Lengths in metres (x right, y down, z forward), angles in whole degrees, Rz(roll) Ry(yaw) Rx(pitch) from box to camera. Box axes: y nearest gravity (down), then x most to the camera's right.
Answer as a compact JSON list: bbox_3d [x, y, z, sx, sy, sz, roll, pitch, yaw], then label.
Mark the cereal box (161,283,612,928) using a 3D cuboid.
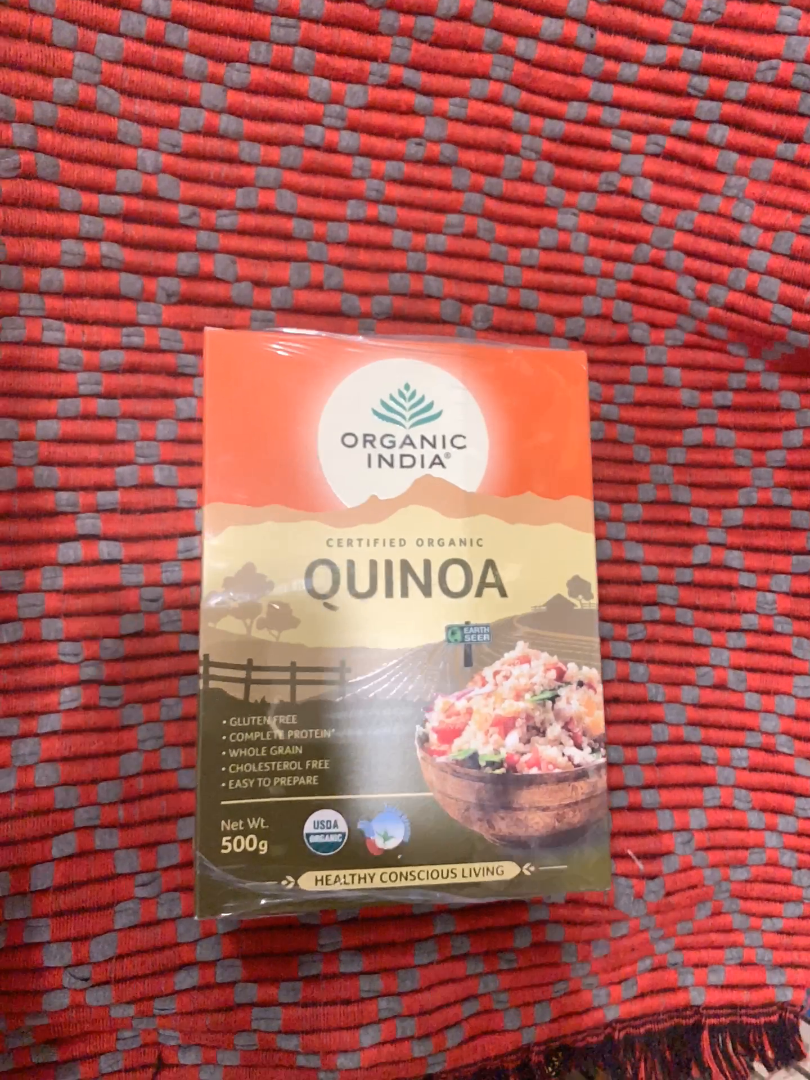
[{"bbox_3d":[-0.009,0.019,0.282,0.130,0.070,0.180,1,84,-12],"label":"cereal box"}]
